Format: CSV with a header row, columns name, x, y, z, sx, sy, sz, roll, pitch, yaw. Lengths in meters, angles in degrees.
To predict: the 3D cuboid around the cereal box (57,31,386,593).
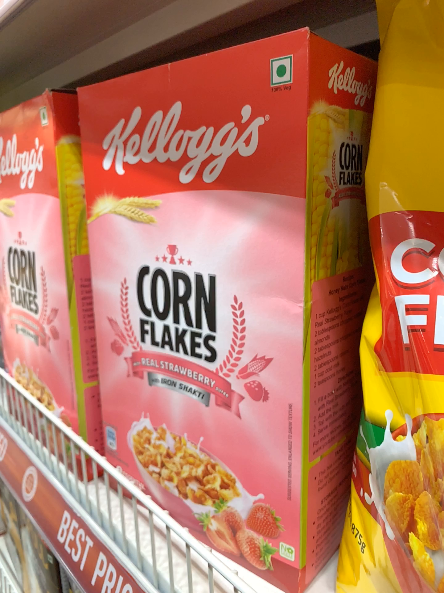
name,x,y,z,sx,sy,sz,roll,pitch,yaw
cereal box,-0.004,0.011,0.293,0.170,0.269,0.090,8,14,38
